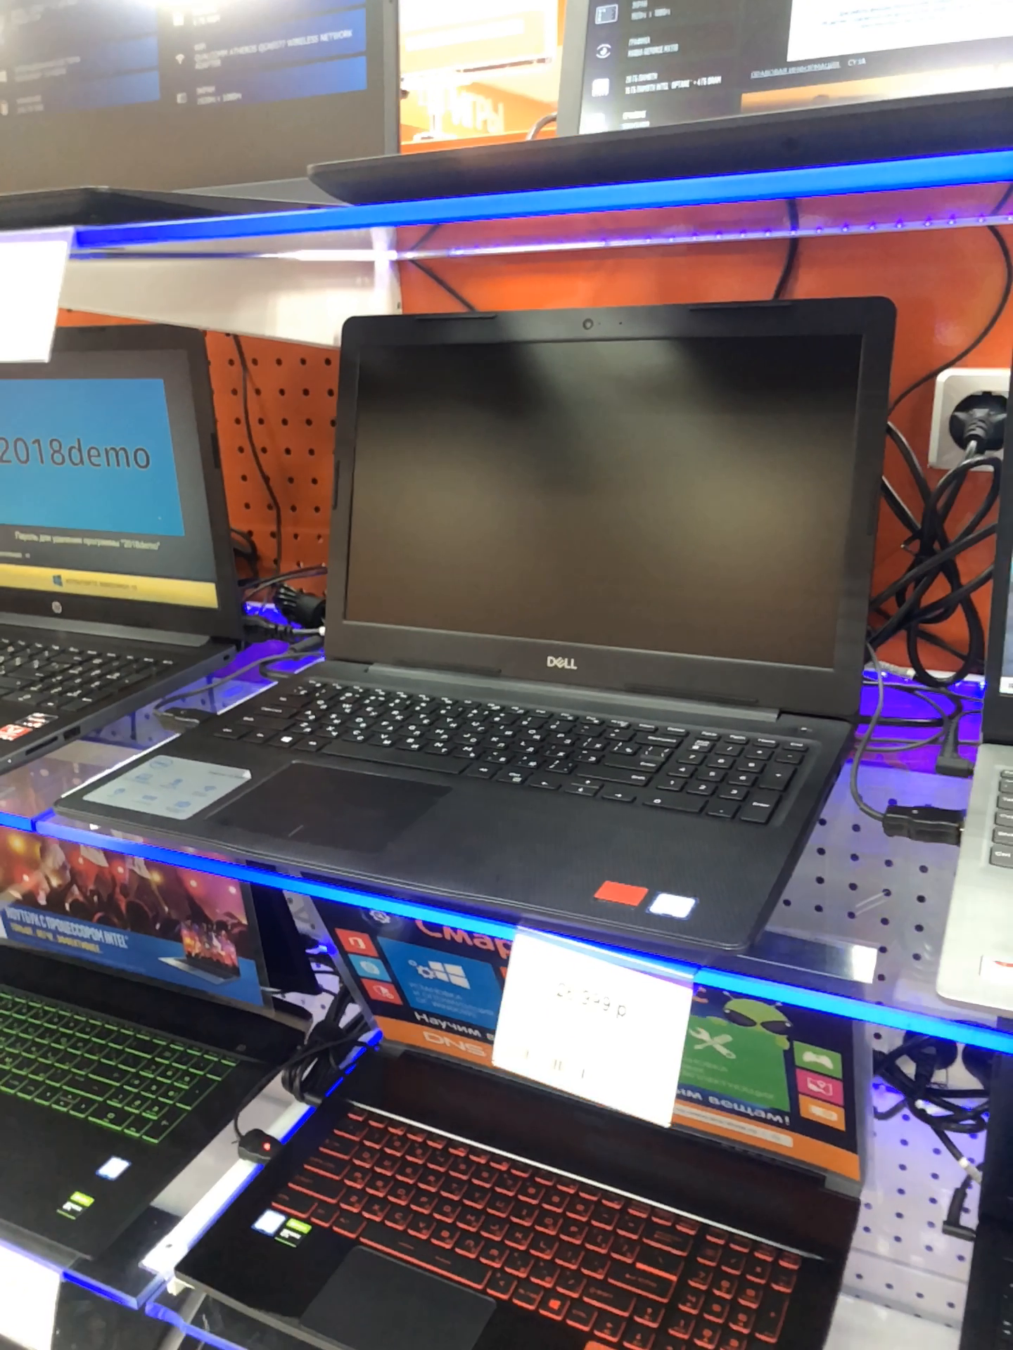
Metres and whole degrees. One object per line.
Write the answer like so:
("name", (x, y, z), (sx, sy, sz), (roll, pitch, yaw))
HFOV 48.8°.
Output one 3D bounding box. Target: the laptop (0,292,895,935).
("laptop", (-0.010, -0.077, 0.614), (0.374, 0.233, 0.317), (6, 20, 24))
